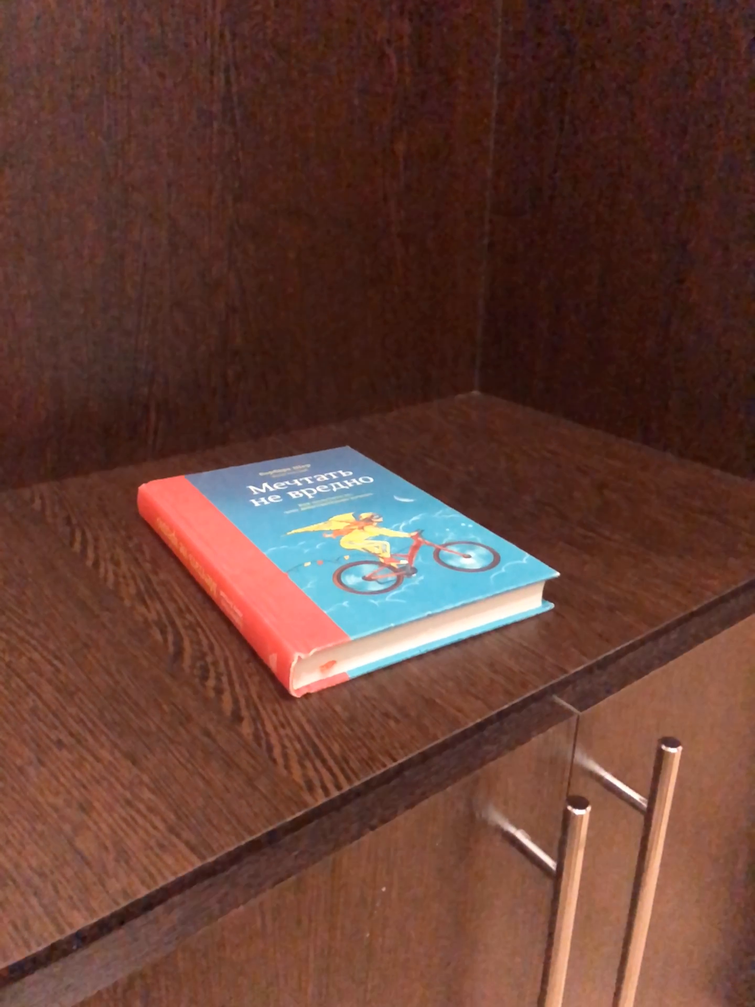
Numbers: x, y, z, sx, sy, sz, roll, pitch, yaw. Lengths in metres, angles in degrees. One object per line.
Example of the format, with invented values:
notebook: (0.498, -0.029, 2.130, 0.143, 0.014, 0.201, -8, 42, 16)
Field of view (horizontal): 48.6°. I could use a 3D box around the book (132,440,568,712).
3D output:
book: (-0.027, 0.021, 0.449, 0.145, 0.025, 0.211, -13, 28, -29)
